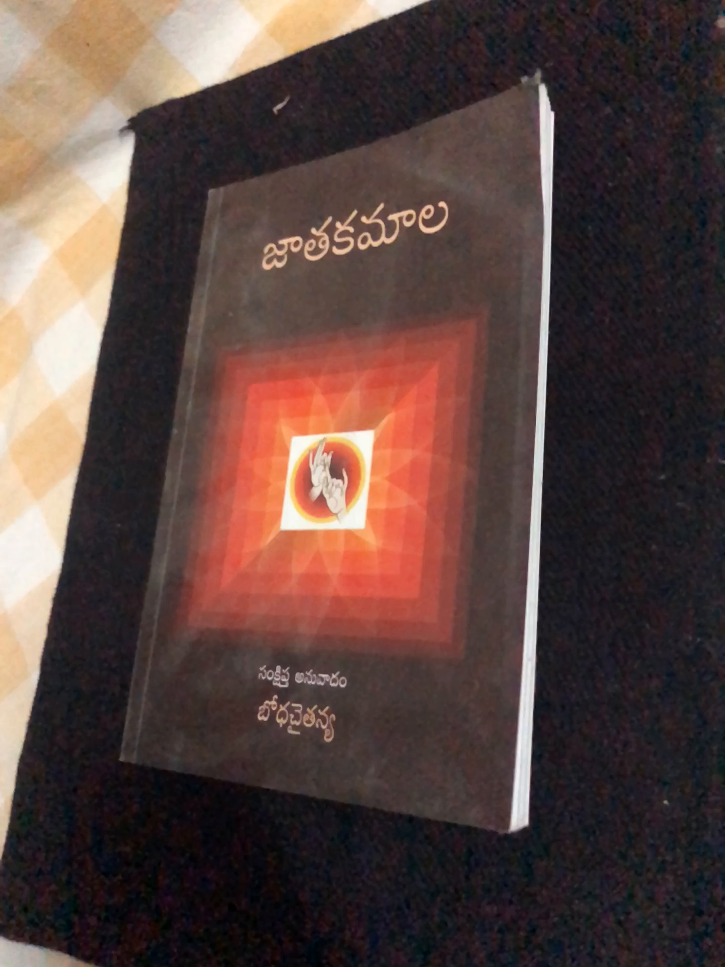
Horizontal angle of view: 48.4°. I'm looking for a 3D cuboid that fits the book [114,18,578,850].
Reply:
[{"bbox_3d":[-0.008,-0.017,0.245,0.140,0.020,0.210,-5,74,36],"label":"book"}]
